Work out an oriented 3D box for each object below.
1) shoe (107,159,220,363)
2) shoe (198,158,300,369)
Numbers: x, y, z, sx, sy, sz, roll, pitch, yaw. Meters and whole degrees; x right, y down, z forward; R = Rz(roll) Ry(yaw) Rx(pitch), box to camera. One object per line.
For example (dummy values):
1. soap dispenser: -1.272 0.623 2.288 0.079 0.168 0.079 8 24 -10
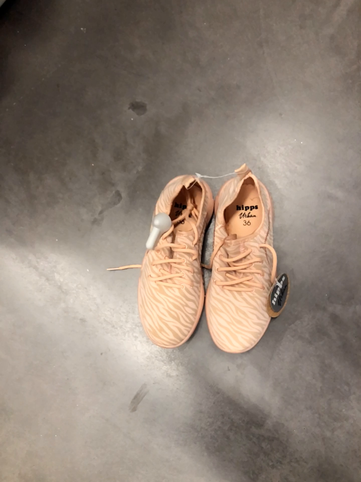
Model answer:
1. shoe: -0.014 0.025 0.518 0.100 0.100 0.230 7 82 7
2. shoe: 0.084 0.027 0.495 0.100 0.100 0.230 4 81 7
